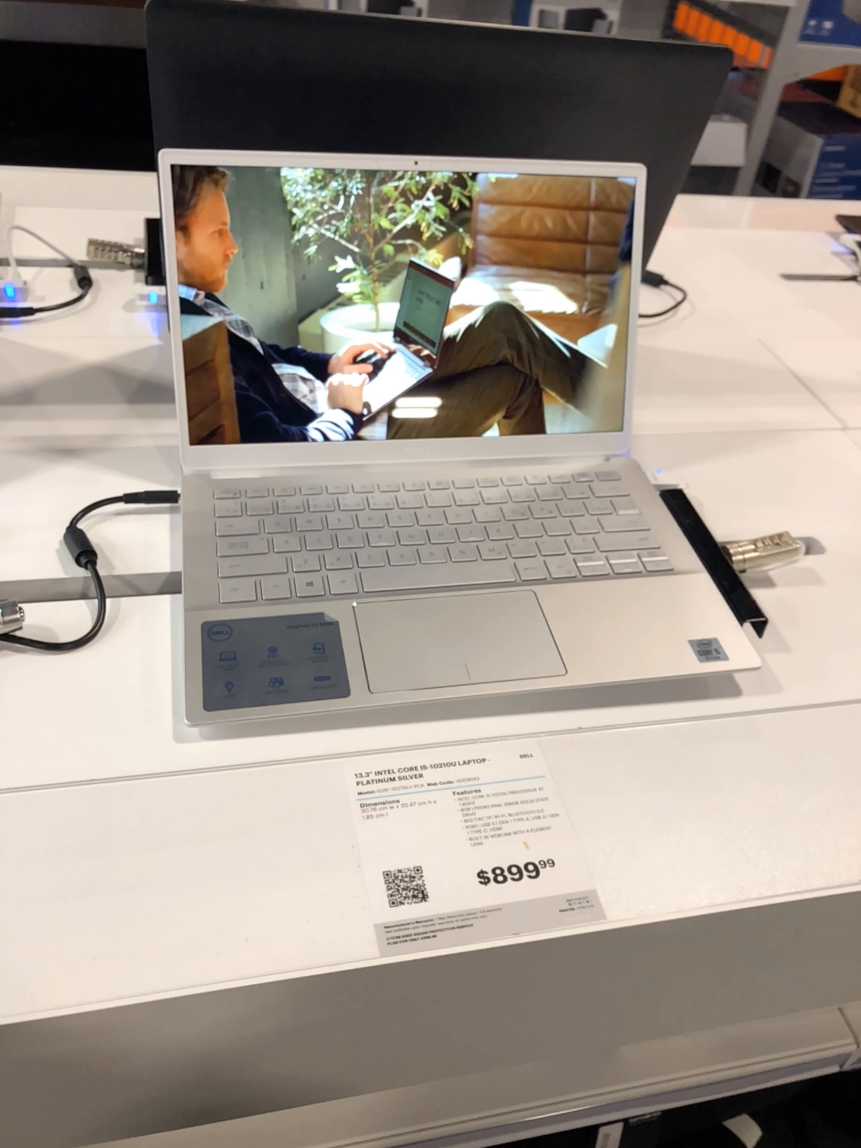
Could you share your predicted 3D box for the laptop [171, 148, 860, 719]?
[{"bbox_3d":[0.011,-0.102,0.539,0.293,0.165,0.294,-4,43,-10],"label":"laptop"}]
